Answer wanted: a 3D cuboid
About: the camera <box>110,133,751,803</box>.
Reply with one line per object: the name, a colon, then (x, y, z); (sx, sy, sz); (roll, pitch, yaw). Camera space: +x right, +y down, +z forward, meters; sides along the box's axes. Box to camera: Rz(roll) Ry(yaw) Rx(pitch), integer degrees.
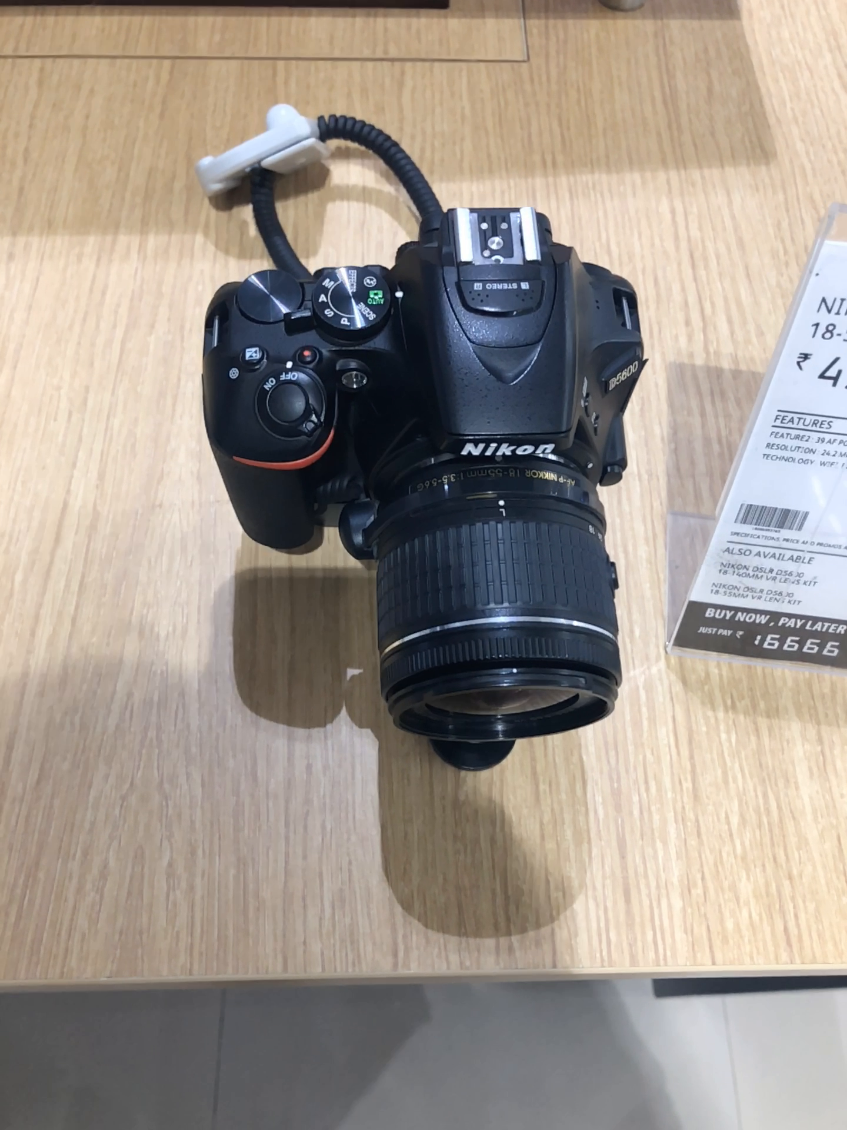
camera: (-0.002, -0.025, 0.271); (0.130, 0.100, 0.161); (-1, 65, -2)
